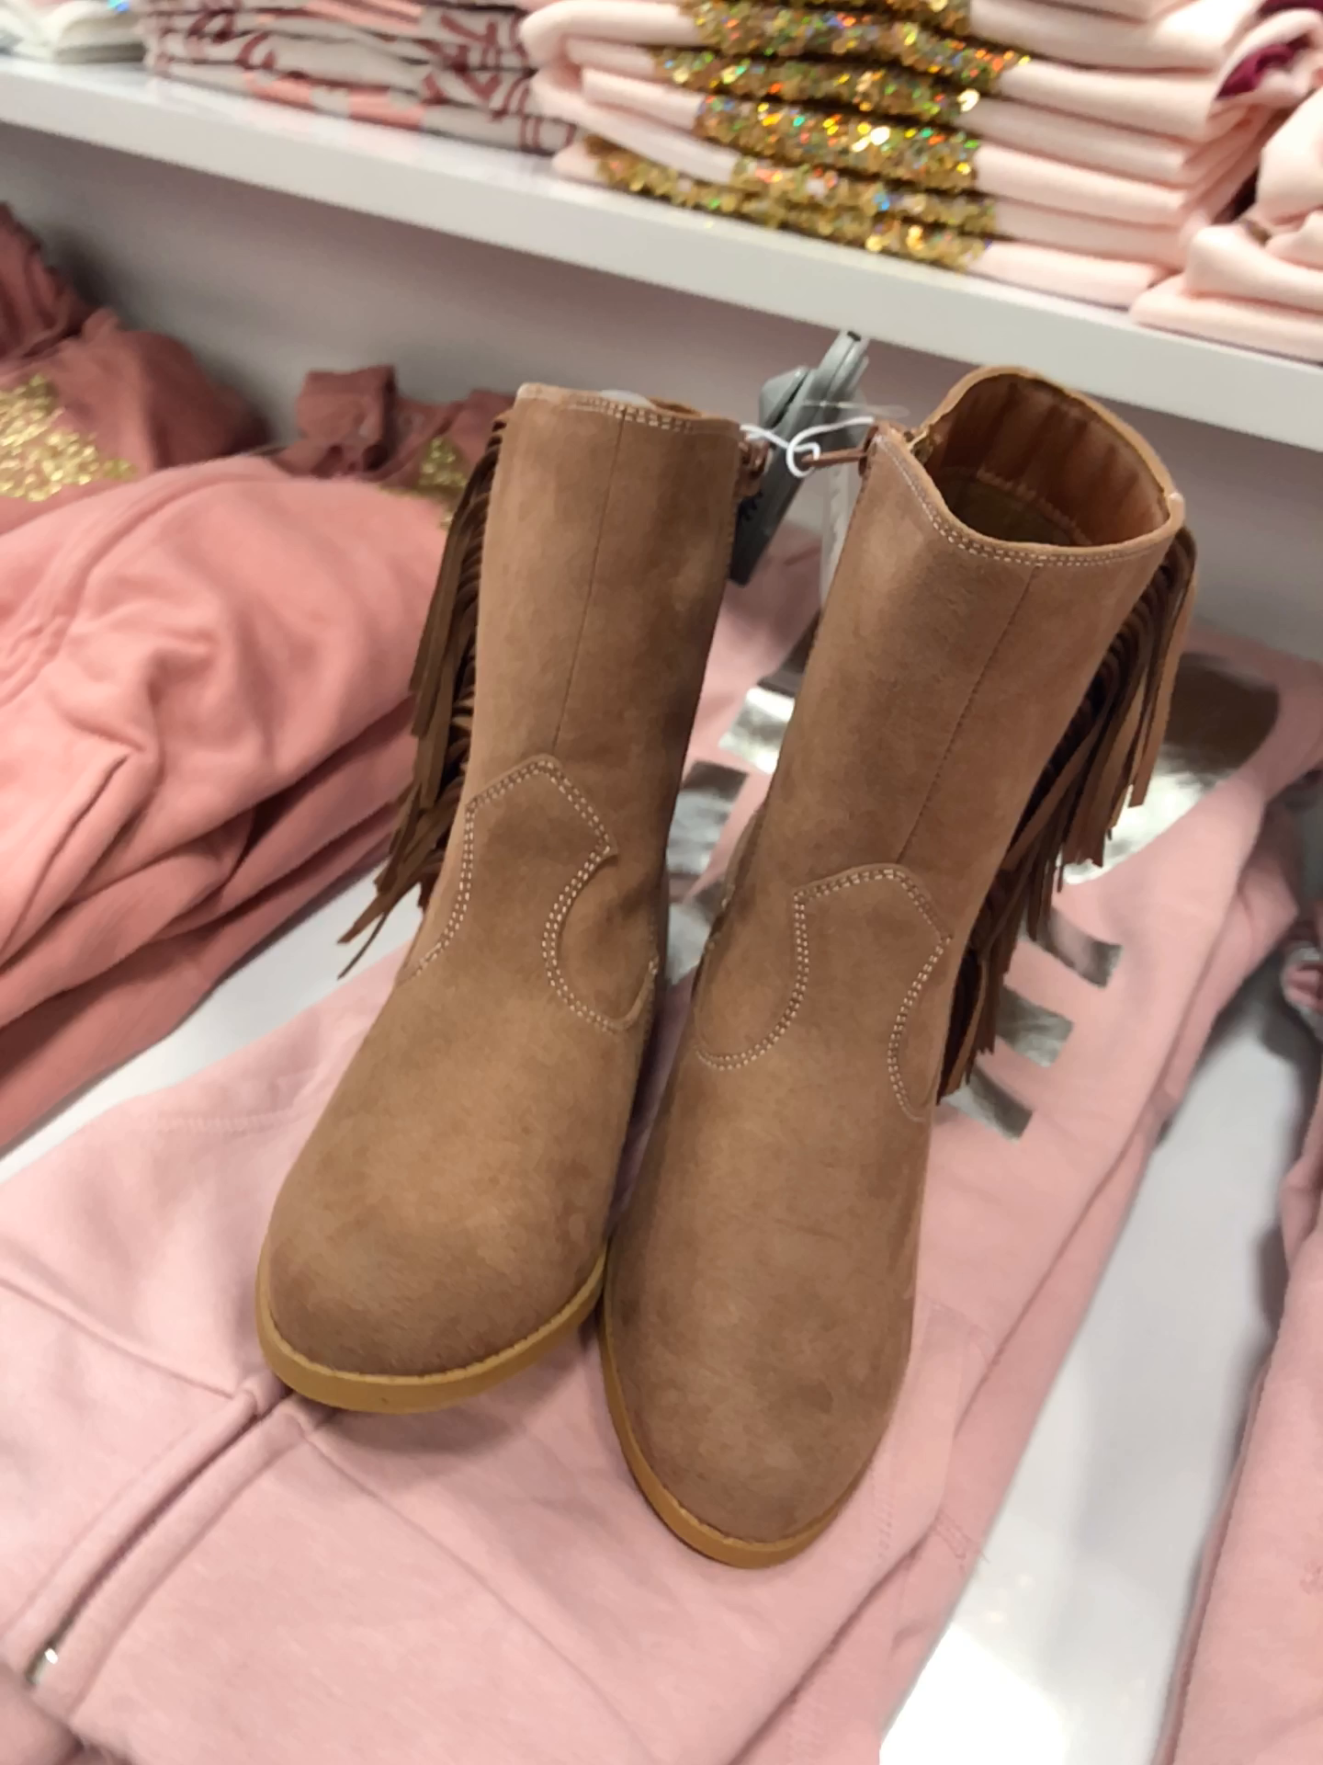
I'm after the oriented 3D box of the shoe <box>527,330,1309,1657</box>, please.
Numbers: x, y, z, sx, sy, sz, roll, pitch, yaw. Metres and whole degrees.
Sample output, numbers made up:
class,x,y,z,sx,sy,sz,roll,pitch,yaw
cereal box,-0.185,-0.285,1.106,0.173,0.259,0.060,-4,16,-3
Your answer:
class,x,y,z,sx,sy,sz,roll,pitch,yaw
shoe,0.045,0.009,0.335,0.092,0.199,0.211,10,34,5

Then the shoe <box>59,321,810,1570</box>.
class,x,y,z,sx,sy,sz,roll,pitch,yaw
shoe,-0.035,-0.005,0.338,0.092,0.199,0.201,10,27,5
